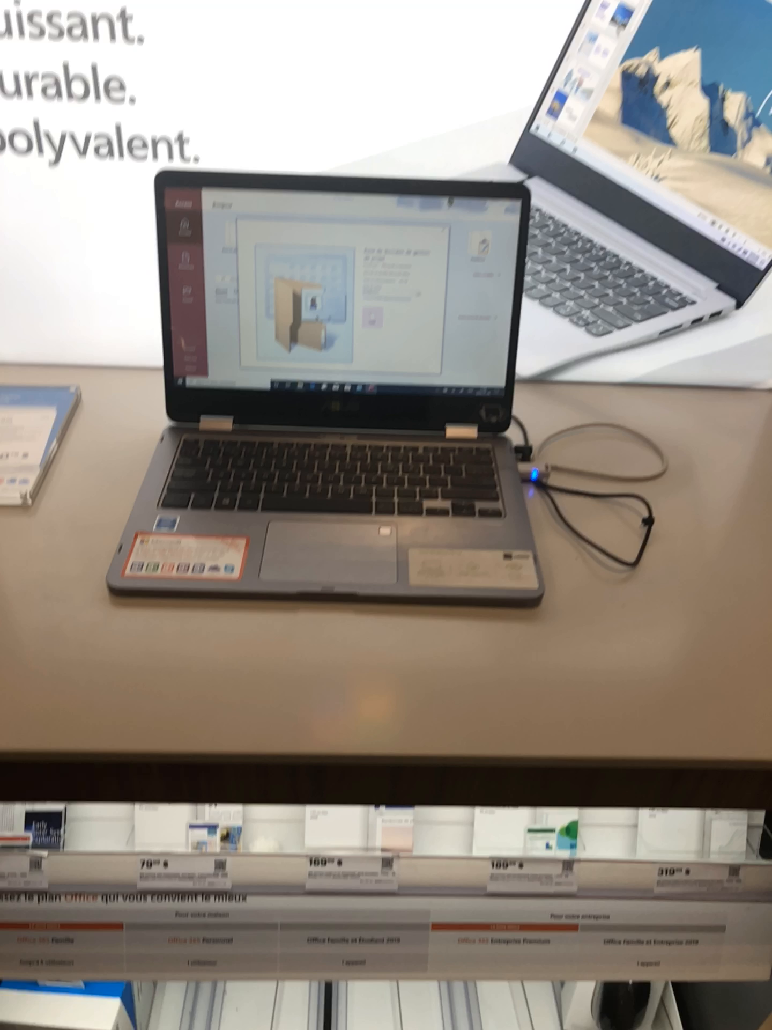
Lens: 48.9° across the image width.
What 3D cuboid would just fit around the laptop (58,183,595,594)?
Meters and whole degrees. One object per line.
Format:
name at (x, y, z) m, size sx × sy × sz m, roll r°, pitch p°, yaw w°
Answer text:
laptop at (-0.037, -0.110, 0.669) m, size 0.311 × 0.214 × 0.274 m, roll 2°, pitch 36°, yaw -2°
